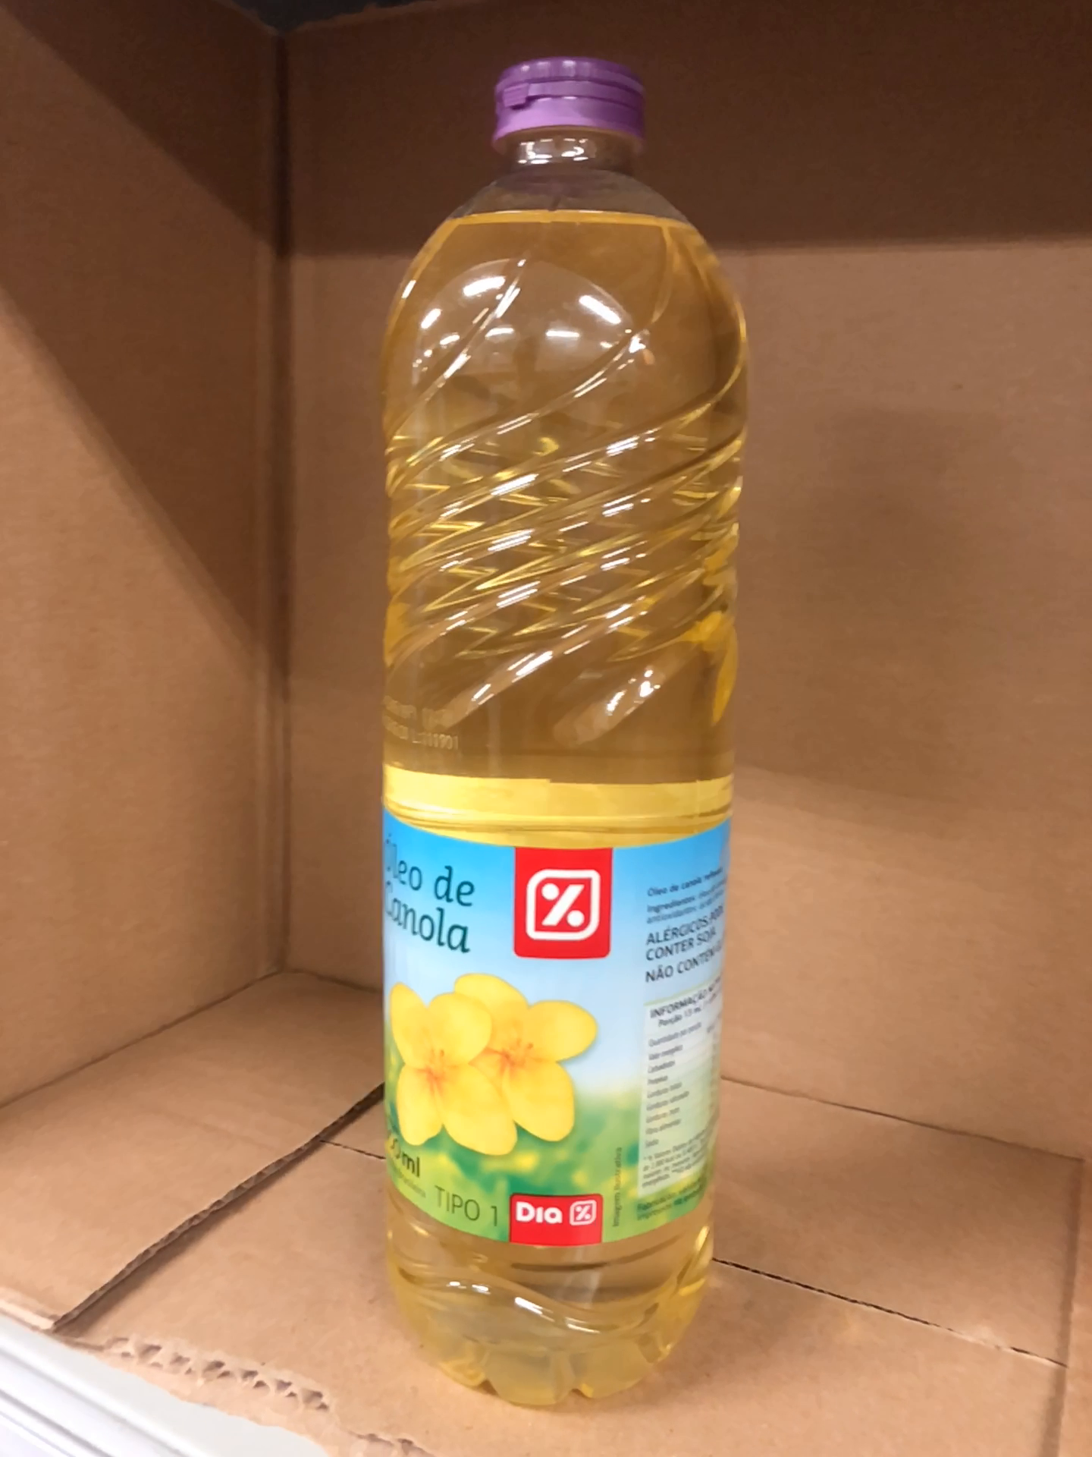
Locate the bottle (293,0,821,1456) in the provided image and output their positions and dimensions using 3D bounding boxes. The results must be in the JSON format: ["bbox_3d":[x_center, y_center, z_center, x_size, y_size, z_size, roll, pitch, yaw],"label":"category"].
[{"bbox_3d":[0.001,0.006,0.247,0.080,0.269,0.050,7,15,26],"label":"bottle"}]
